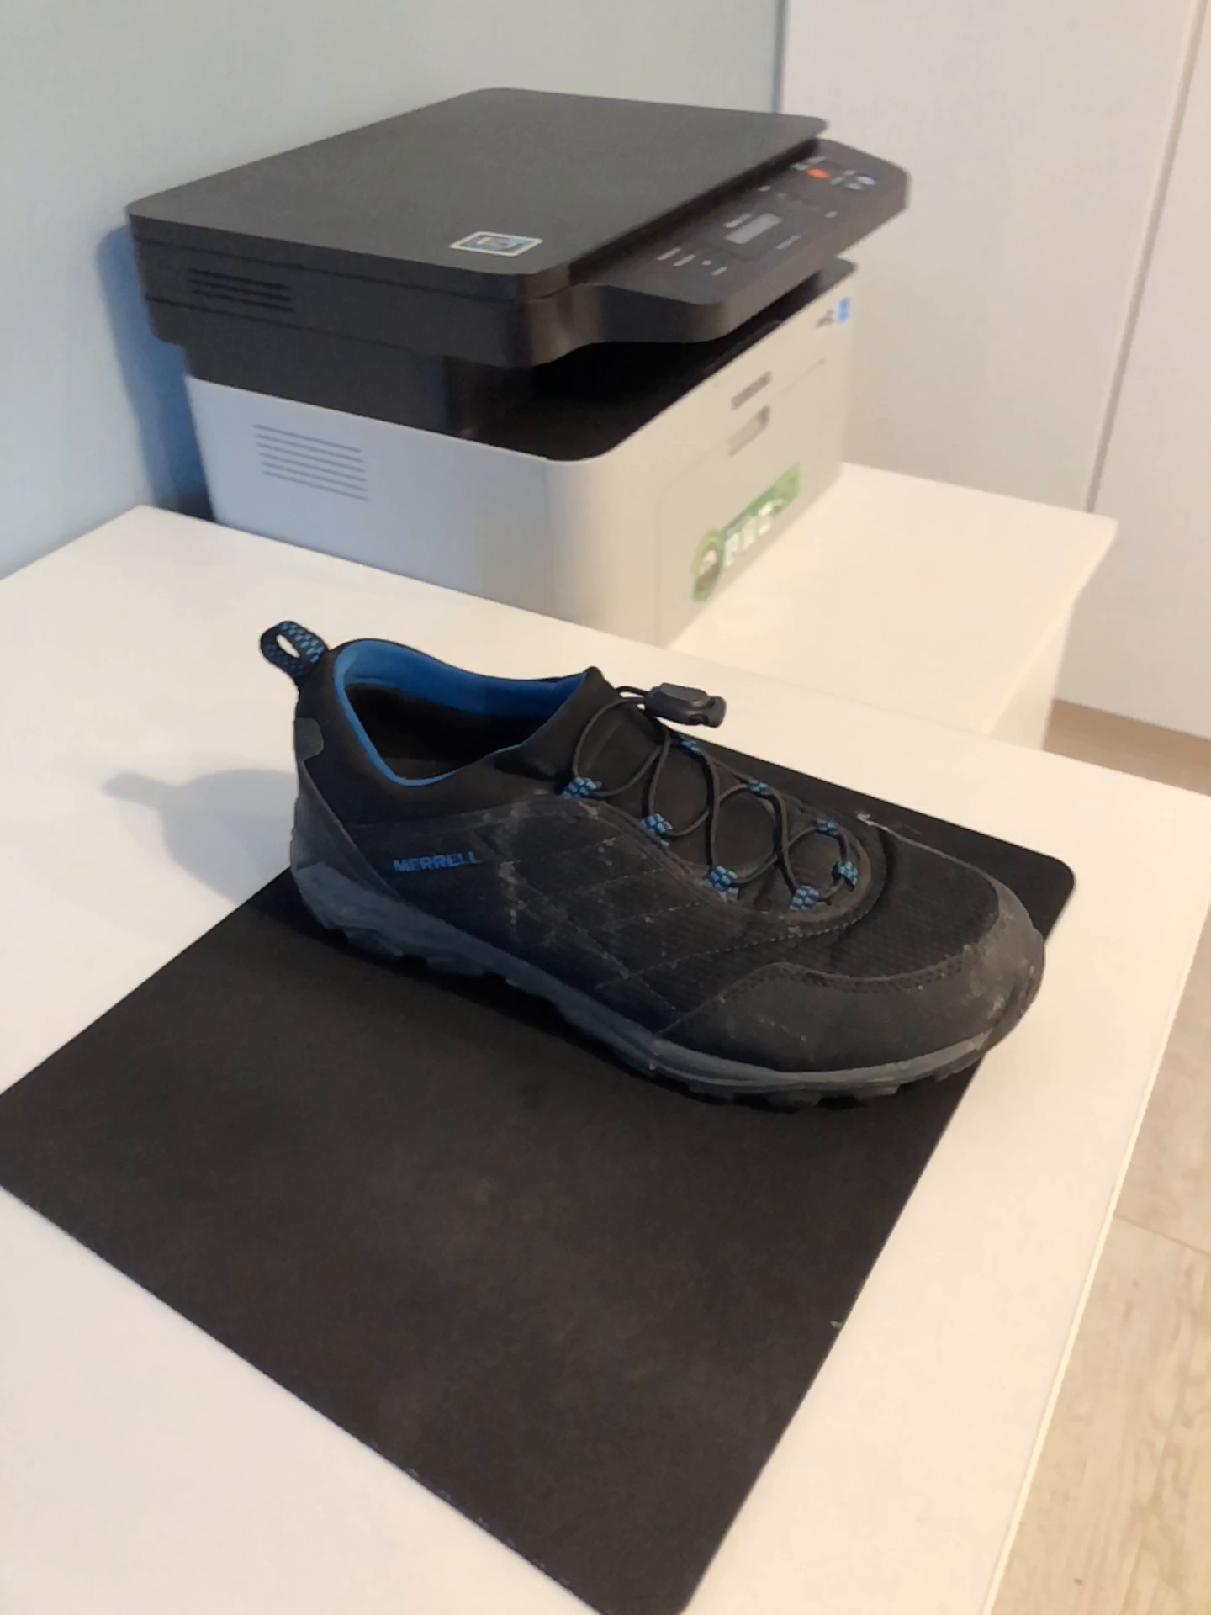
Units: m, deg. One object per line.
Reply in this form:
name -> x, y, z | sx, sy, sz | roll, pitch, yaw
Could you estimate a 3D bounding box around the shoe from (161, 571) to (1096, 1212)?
shoe -> 0.008, 0.016, 0.499 | 0.300, 0.109, 0.131 | 15, 40, 19
